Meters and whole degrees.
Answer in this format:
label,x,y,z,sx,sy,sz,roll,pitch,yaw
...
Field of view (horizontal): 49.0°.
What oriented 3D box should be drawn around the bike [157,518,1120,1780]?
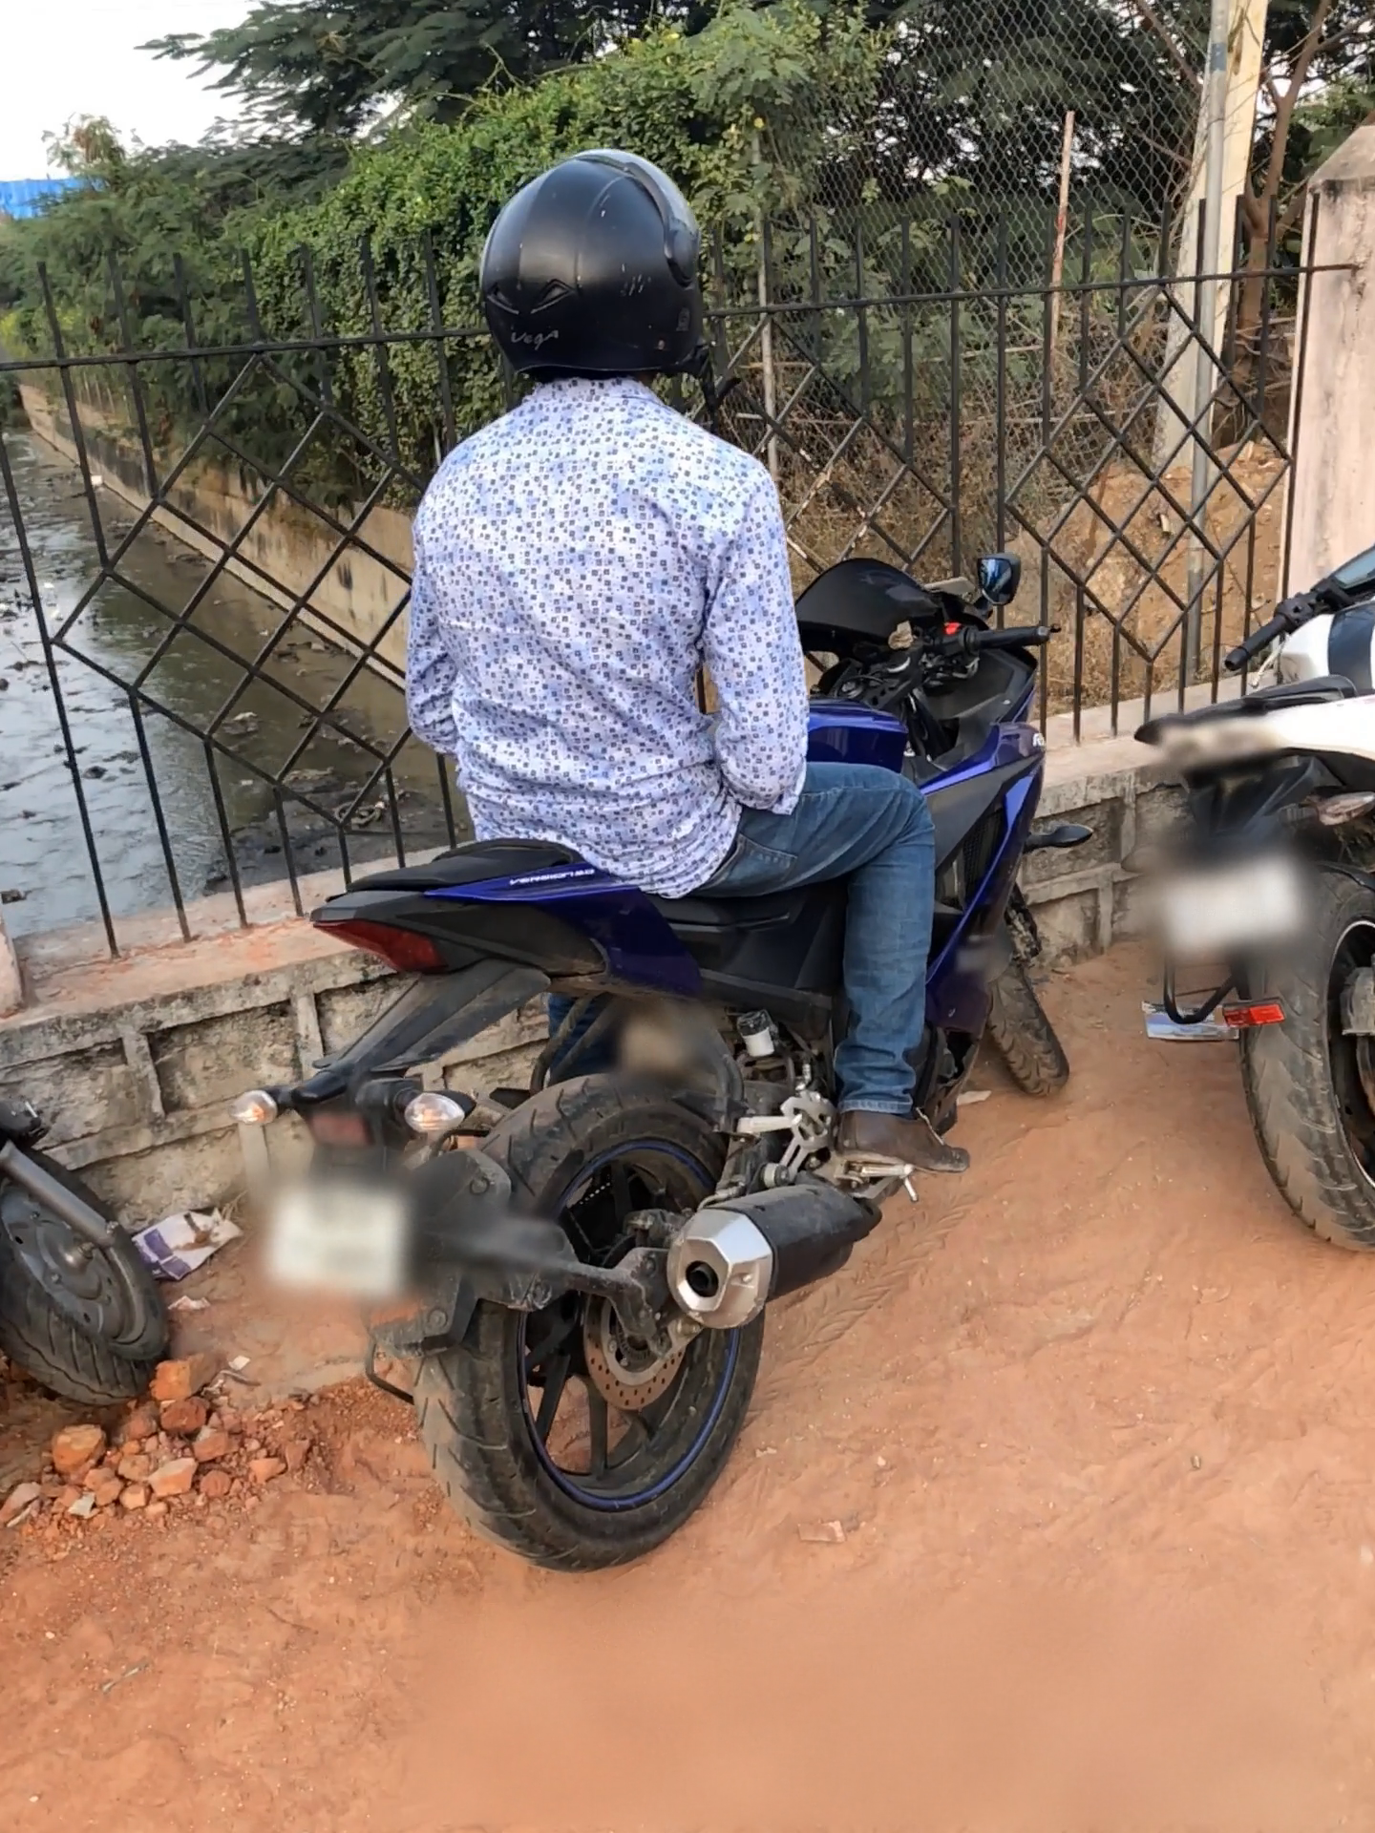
label,x,y,z,sx,sy,sz,roll,pitch,yaw
bike,0.169,0.051,2.448,0.731,0.995,1.955,5,26,23
